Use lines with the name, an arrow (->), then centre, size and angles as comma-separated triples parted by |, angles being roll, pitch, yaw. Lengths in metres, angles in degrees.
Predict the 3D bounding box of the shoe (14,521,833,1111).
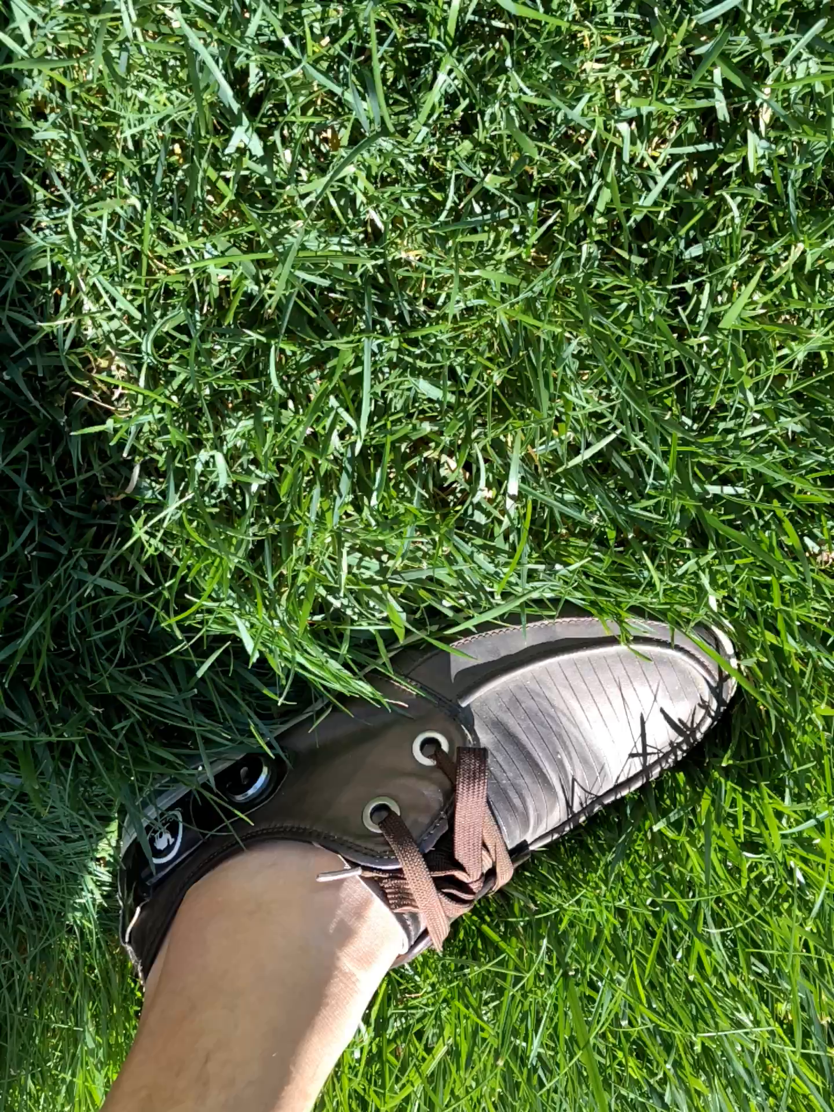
shoe -> 0.010, 0.106, 0.366 | 0.280, 0.093, 0.112 | -24, 111, 3
